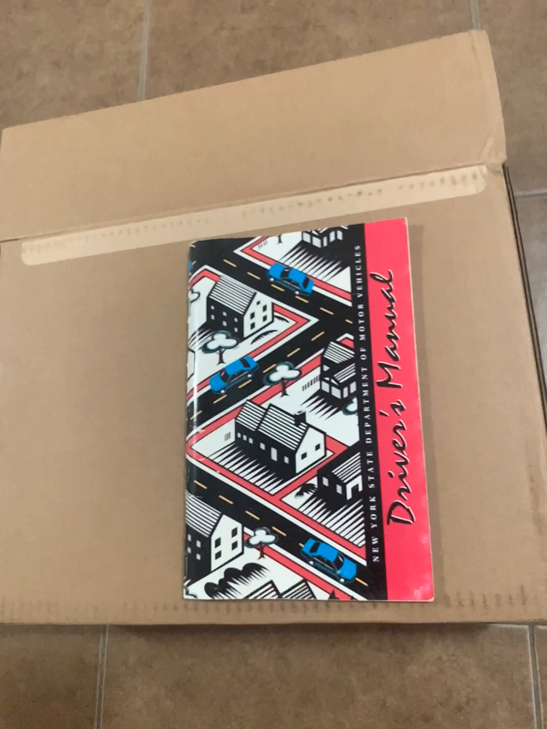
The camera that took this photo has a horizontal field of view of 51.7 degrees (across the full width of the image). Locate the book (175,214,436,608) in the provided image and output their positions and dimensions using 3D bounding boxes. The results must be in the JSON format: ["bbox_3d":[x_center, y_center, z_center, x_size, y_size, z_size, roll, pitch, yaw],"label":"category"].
[{"bbox_3d":[0.013,0.022,0.315,0.133,0.013,0.207,-4,77,13],"label":"book"}]
